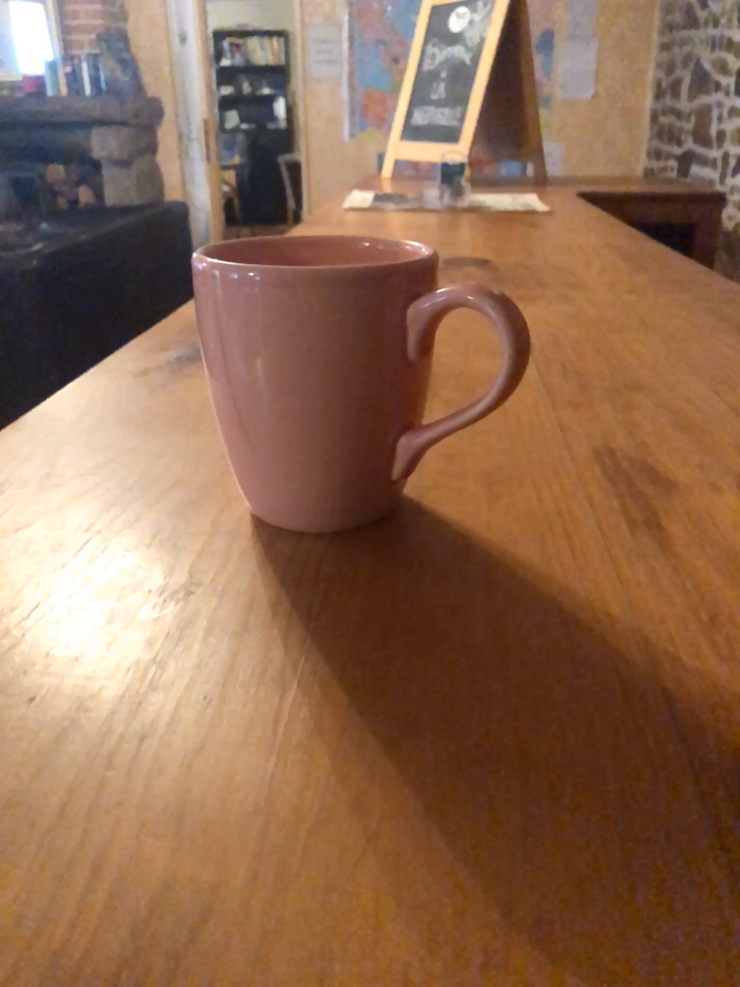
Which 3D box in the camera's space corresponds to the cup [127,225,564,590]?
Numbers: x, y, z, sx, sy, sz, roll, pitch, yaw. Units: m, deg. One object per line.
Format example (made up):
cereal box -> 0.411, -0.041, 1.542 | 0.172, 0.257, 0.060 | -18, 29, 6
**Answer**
cup -> -0.005, -0.041, 0.299 | 0.121, 0.095, 0.091 | 12, 27, 26
